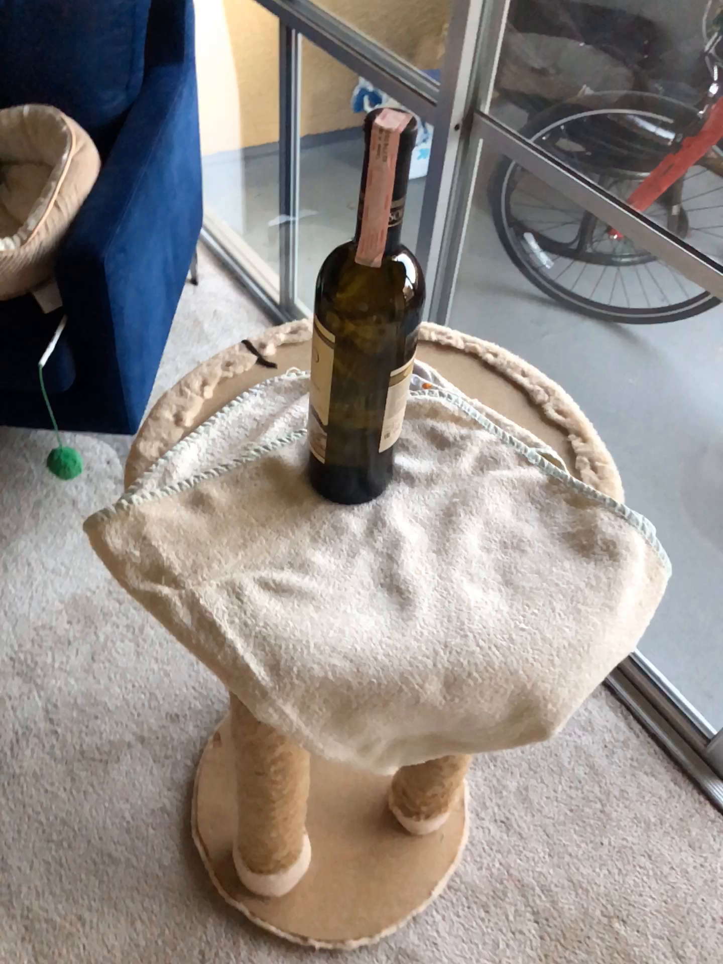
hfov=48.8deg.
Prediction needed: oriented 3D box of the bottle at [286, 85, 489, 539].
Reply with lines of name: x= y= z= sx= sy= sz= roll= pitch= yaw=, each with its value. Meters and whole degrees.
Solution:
bottle: x=0.006 y=-0.089 z=0.505 sx=0.080 sy=0.269 sz=0.080 roll=3 pitch=48 yaw=-3
